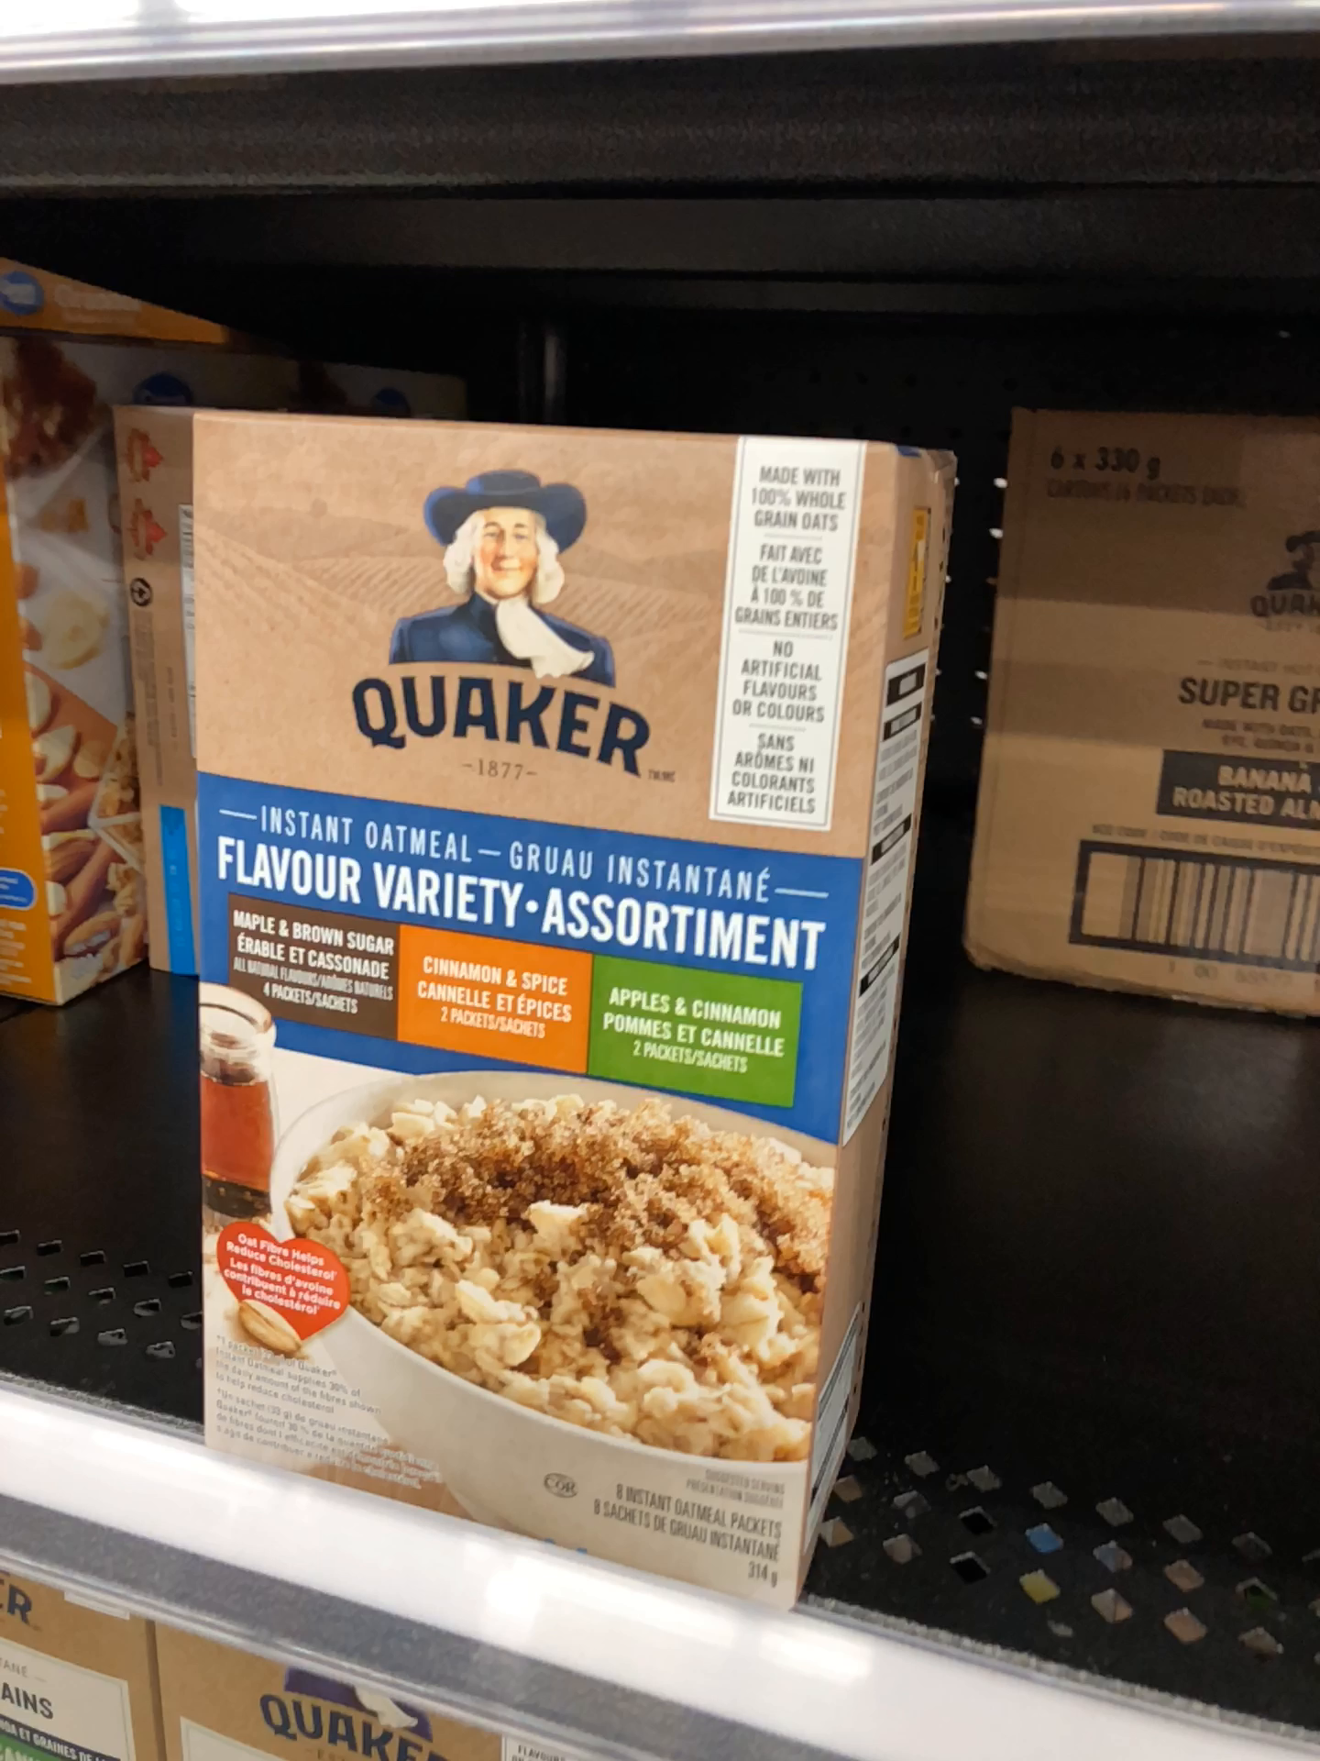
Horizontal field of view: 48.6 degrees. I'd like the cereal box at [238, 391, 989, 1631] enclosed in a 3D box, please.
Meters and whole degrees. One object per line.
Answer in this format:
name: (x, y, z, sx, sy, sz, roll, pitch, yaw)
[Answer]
cereal box: (-0.011, 0.019, 0.283, 0.120, 0.209, 0.060, 7, 14, 16)
